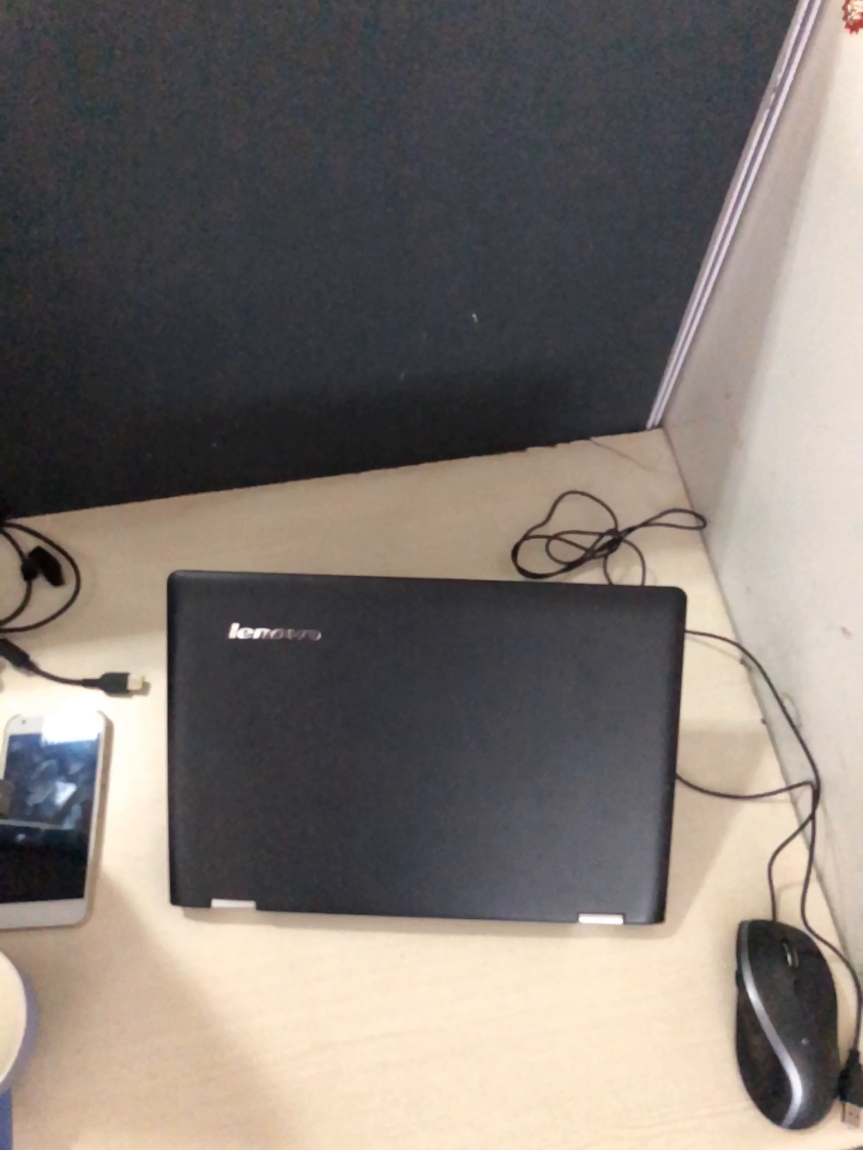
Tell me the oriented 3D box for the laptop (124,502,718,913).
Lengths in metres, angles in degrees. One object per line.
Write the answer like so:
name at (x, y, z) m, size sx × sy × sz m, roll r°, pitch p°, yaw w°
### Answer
laptop at (-0.005, 0.092, 0.615) m, size 0.324 × 0.143 × 0.205 m, roll 2°, pitch 69°, yaw 0°
